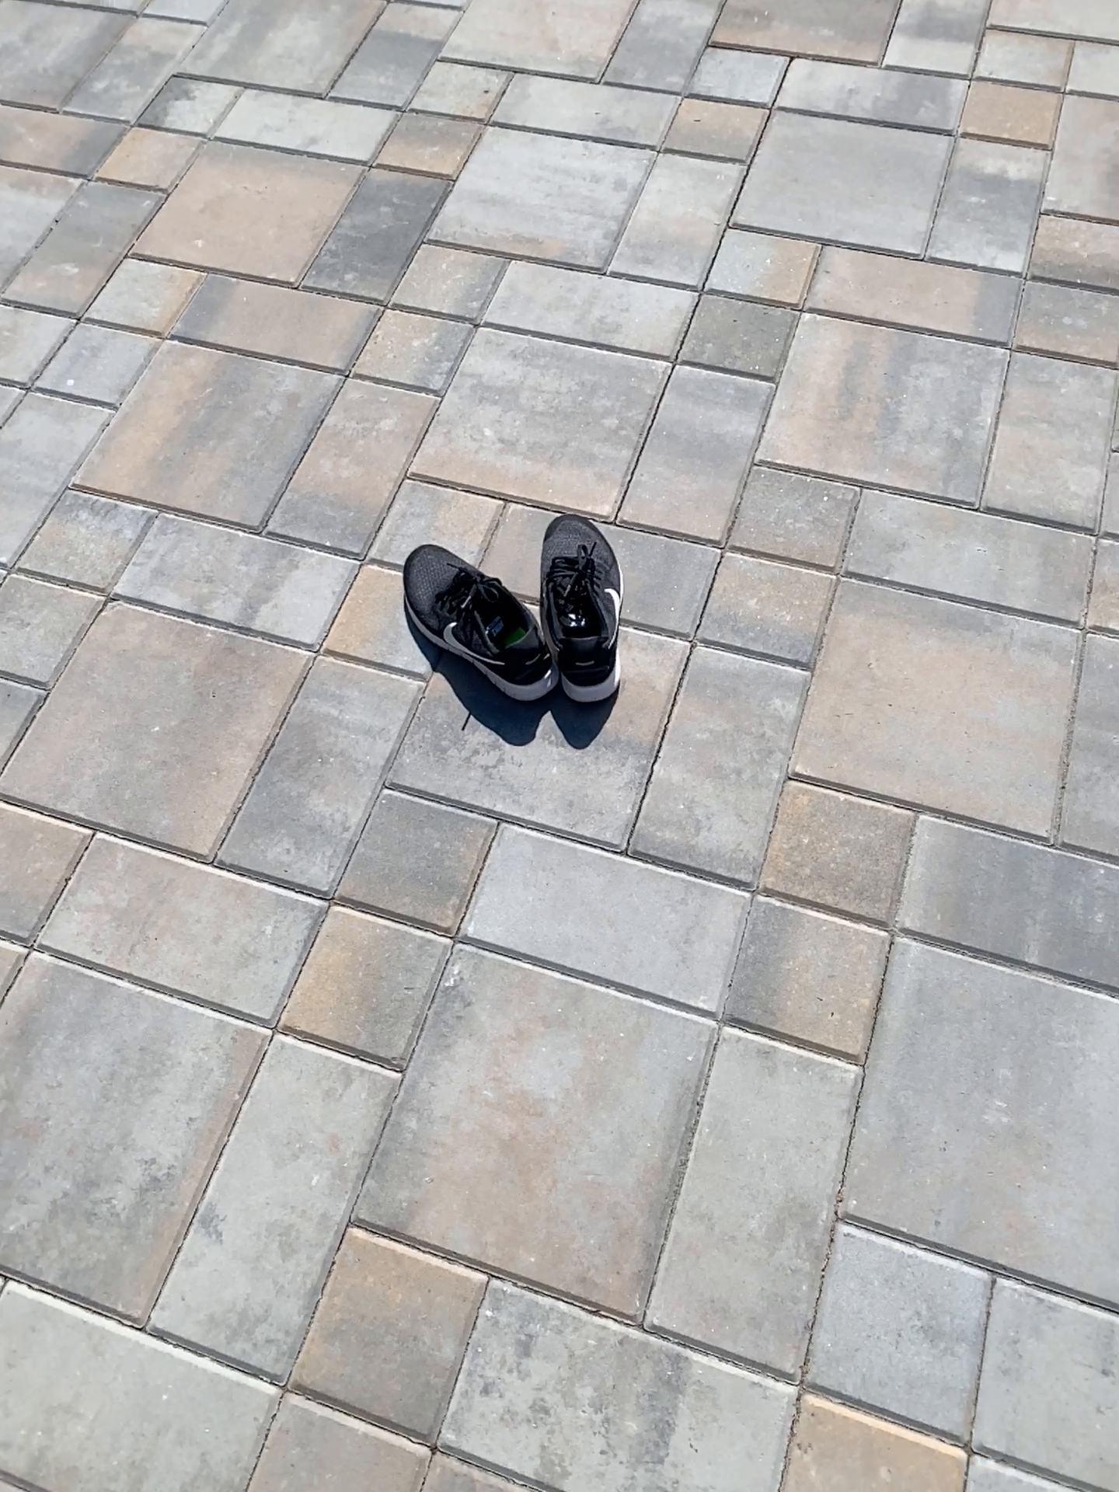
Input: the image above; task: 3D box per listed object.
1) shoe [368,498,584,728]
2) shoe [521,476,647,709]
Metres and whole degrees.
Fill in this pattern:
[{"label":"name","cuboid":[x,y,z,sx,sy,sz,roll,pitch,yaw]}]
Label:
[{"label":"shoe","cuboid":[-0.098,-0.160,1.363,0.110,0.110,0.251,-41,67,-17]},{"label":"shoe","cuboid":[0.027,-0.183,1.349,0.110,0.100,0.251,-8,62,-1]}]
